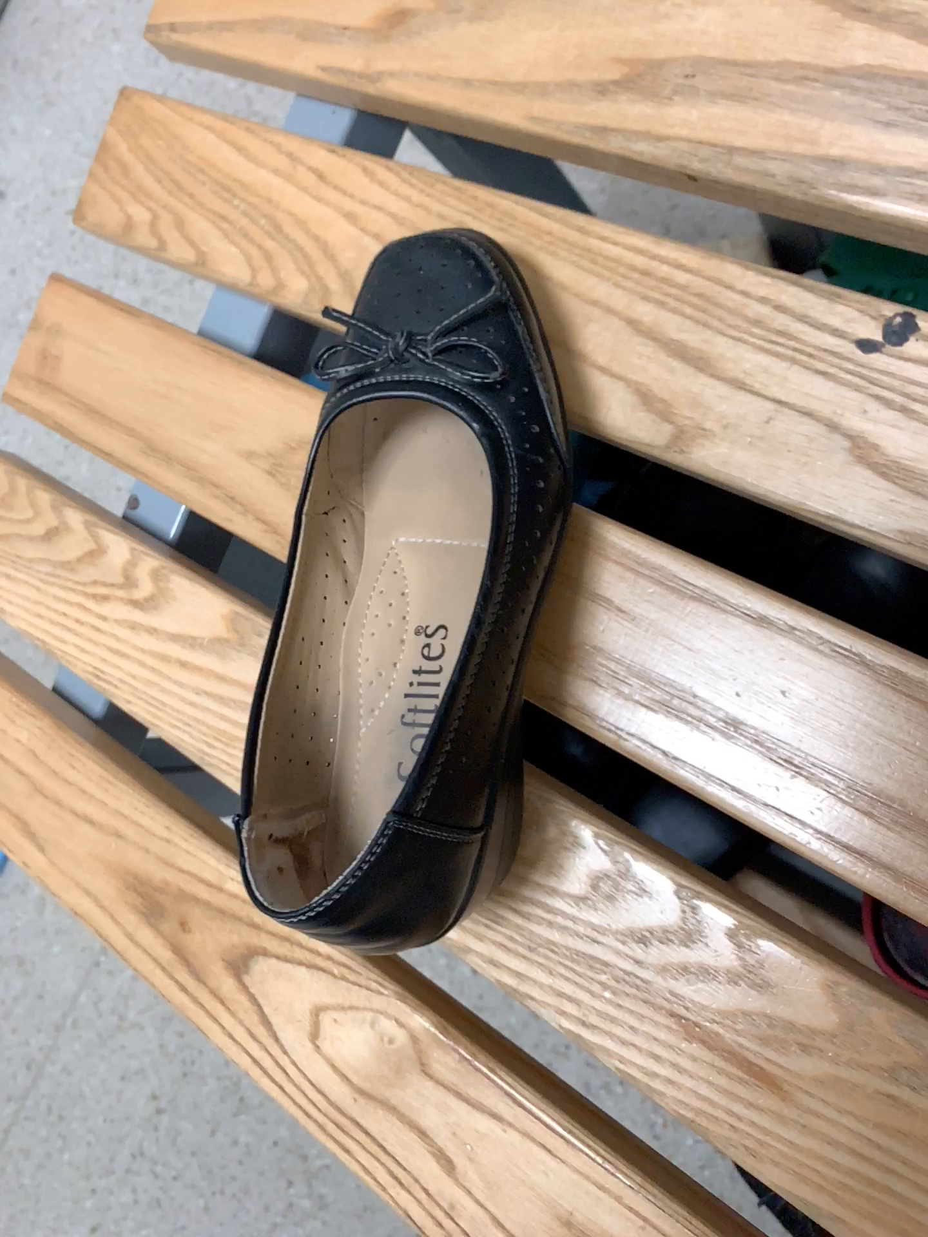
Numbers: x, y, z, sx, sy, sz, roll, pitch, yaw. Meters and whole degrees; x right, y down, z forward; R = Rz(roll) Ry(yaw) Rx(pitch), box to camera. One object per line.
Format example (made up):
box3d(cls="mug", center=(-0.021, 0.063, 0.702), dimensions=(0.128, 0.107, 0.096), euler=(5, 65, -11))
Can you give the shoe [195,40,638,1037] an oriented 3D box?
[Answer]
box3d(cls="shoe", center=(-0.004, -0.023, 0.323), dimensions=(0.087, 0.109, 0.272), euler=(-1, 80, 27))
